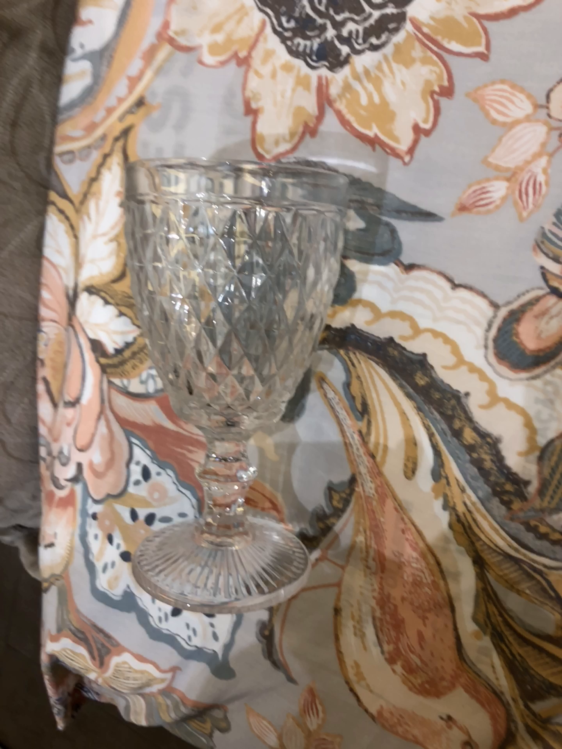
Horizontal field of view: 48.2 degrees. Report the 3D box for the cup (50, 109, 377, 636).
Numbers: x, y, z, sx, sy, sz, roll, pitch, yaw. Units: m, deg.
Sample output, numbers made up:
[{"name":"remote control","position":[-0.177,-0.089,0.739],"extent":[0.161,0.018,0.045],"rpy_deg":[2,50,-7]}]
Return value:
[{"name":"cup","position":[-0.026,-0.006,0.254],"extent":[0.090,0.080,0.170],"rpy_deg":[9,99,24]}]
